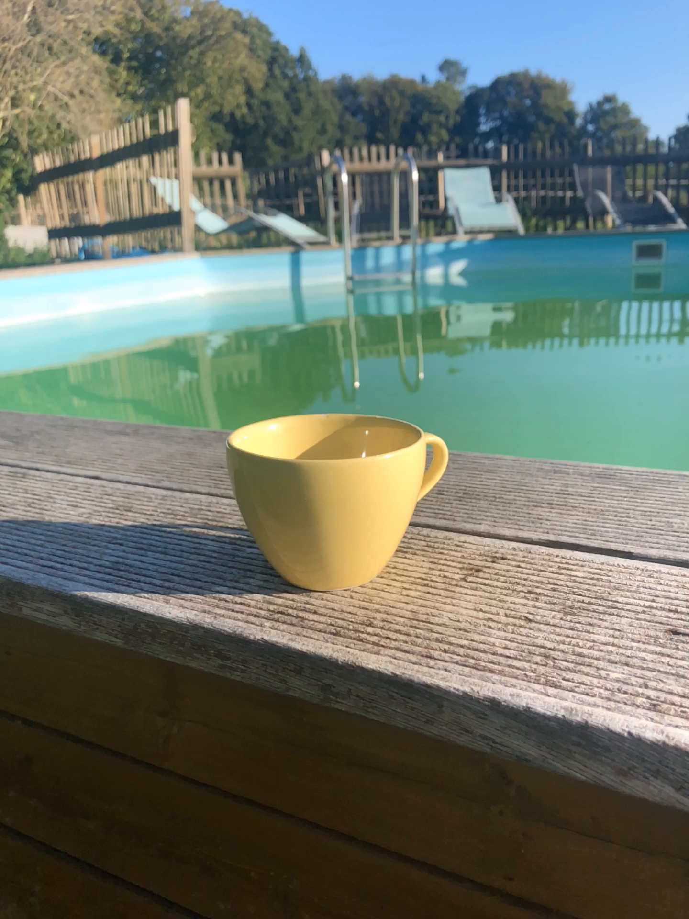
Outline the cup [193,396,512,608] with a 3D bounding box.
[{"bbox_3d":[0.003,0.011,0.345,0.112,0.053,0.089,-11,18,-30],"label":"cup"}]
